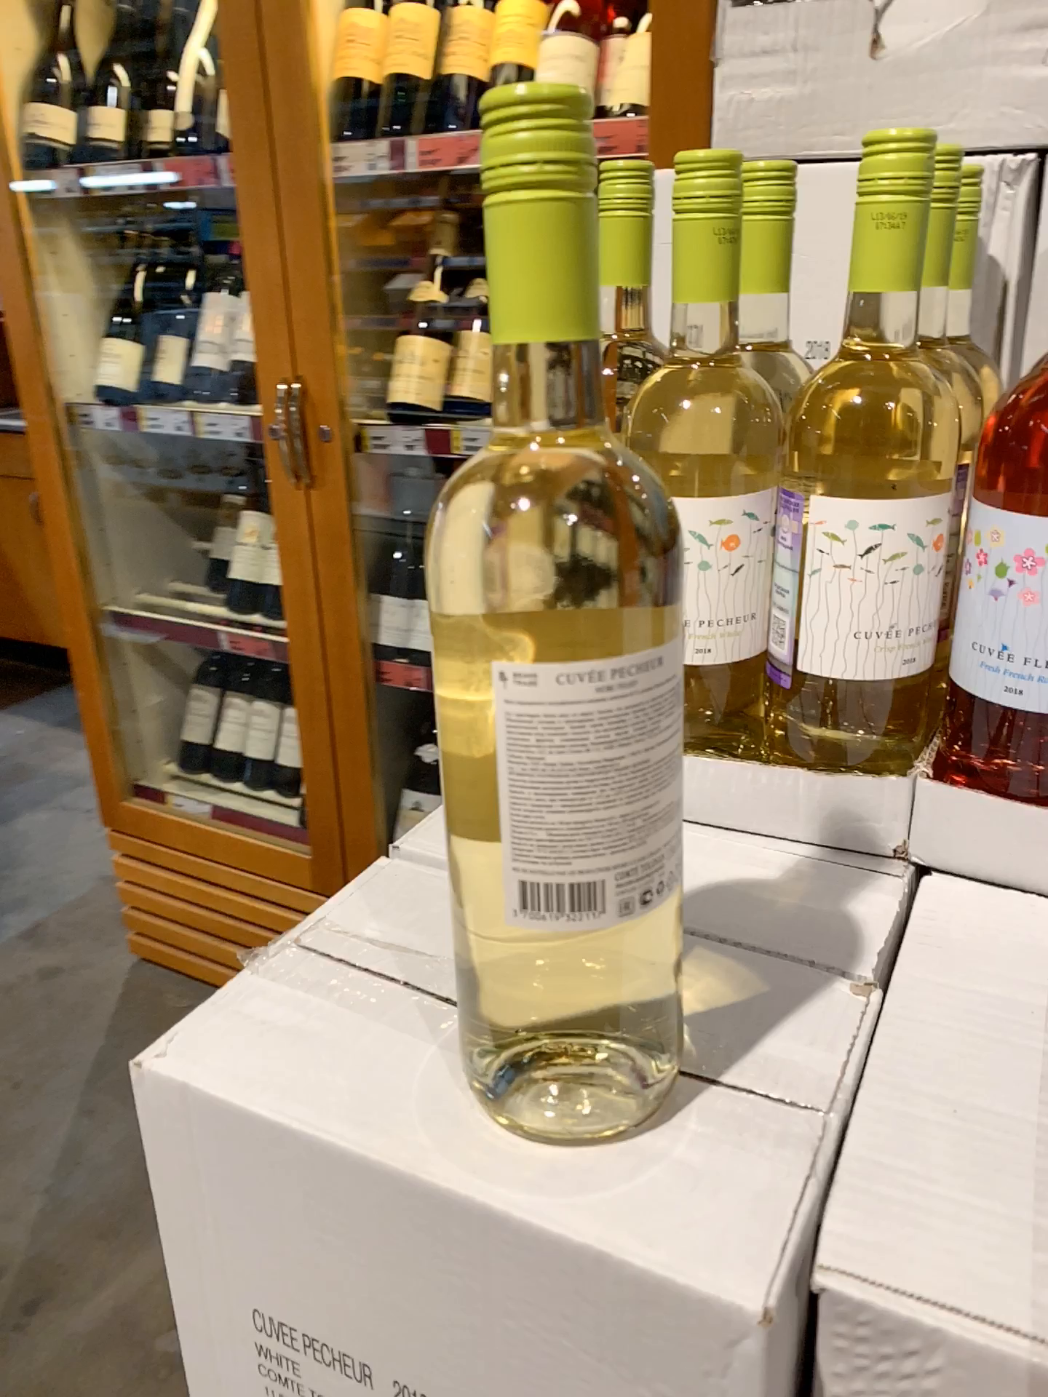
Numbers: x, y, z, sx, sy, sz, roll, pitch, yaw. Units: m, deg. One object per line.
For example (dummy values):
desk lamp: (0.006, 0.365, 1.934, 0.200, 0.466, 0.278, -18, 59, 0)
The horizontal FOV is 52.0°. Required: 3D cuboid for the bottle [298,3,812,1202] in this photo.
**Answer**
bottle: (0.010, -0.017, 0.317, 0.090, 0.299, 0.090, -2, 21, 1)
